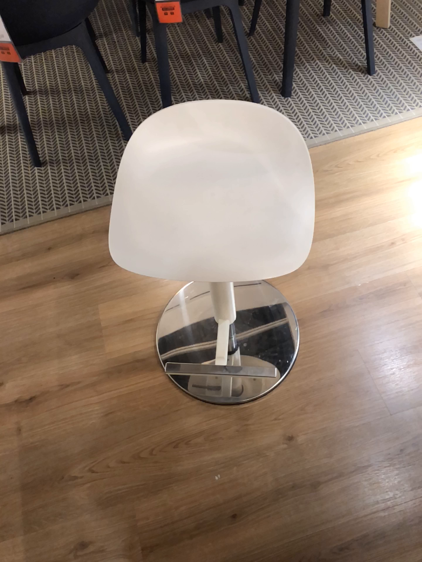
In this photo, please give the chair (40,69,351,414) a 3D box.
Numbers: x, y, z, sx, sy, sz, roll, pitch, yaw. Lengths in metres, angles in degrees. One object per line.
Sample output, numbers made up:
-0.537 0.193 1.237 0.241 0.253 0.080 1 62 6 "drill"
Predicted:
0.008 -0.019 1.069 0.440 0.699 0.451 -1 58 5 "chair"
